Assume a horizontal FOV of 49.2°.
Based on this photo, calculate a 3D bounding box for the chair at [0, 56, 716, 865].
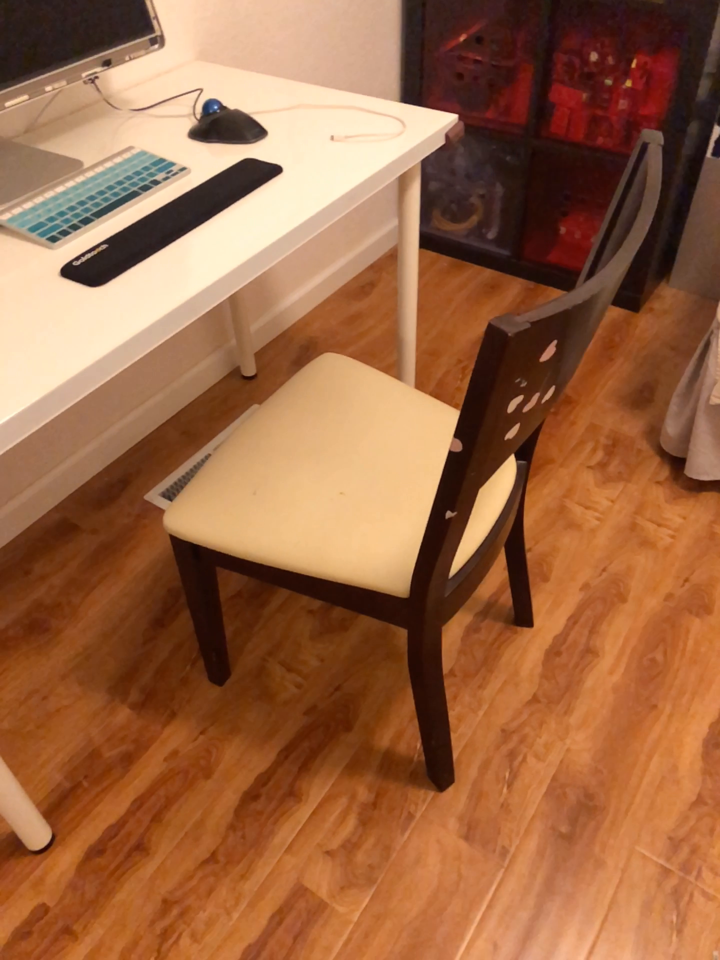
[{"bbox_3d":[-0.001,-0.032,1.179,0.661,0.885,0.572,22,48,24],"label":"chair"}]
